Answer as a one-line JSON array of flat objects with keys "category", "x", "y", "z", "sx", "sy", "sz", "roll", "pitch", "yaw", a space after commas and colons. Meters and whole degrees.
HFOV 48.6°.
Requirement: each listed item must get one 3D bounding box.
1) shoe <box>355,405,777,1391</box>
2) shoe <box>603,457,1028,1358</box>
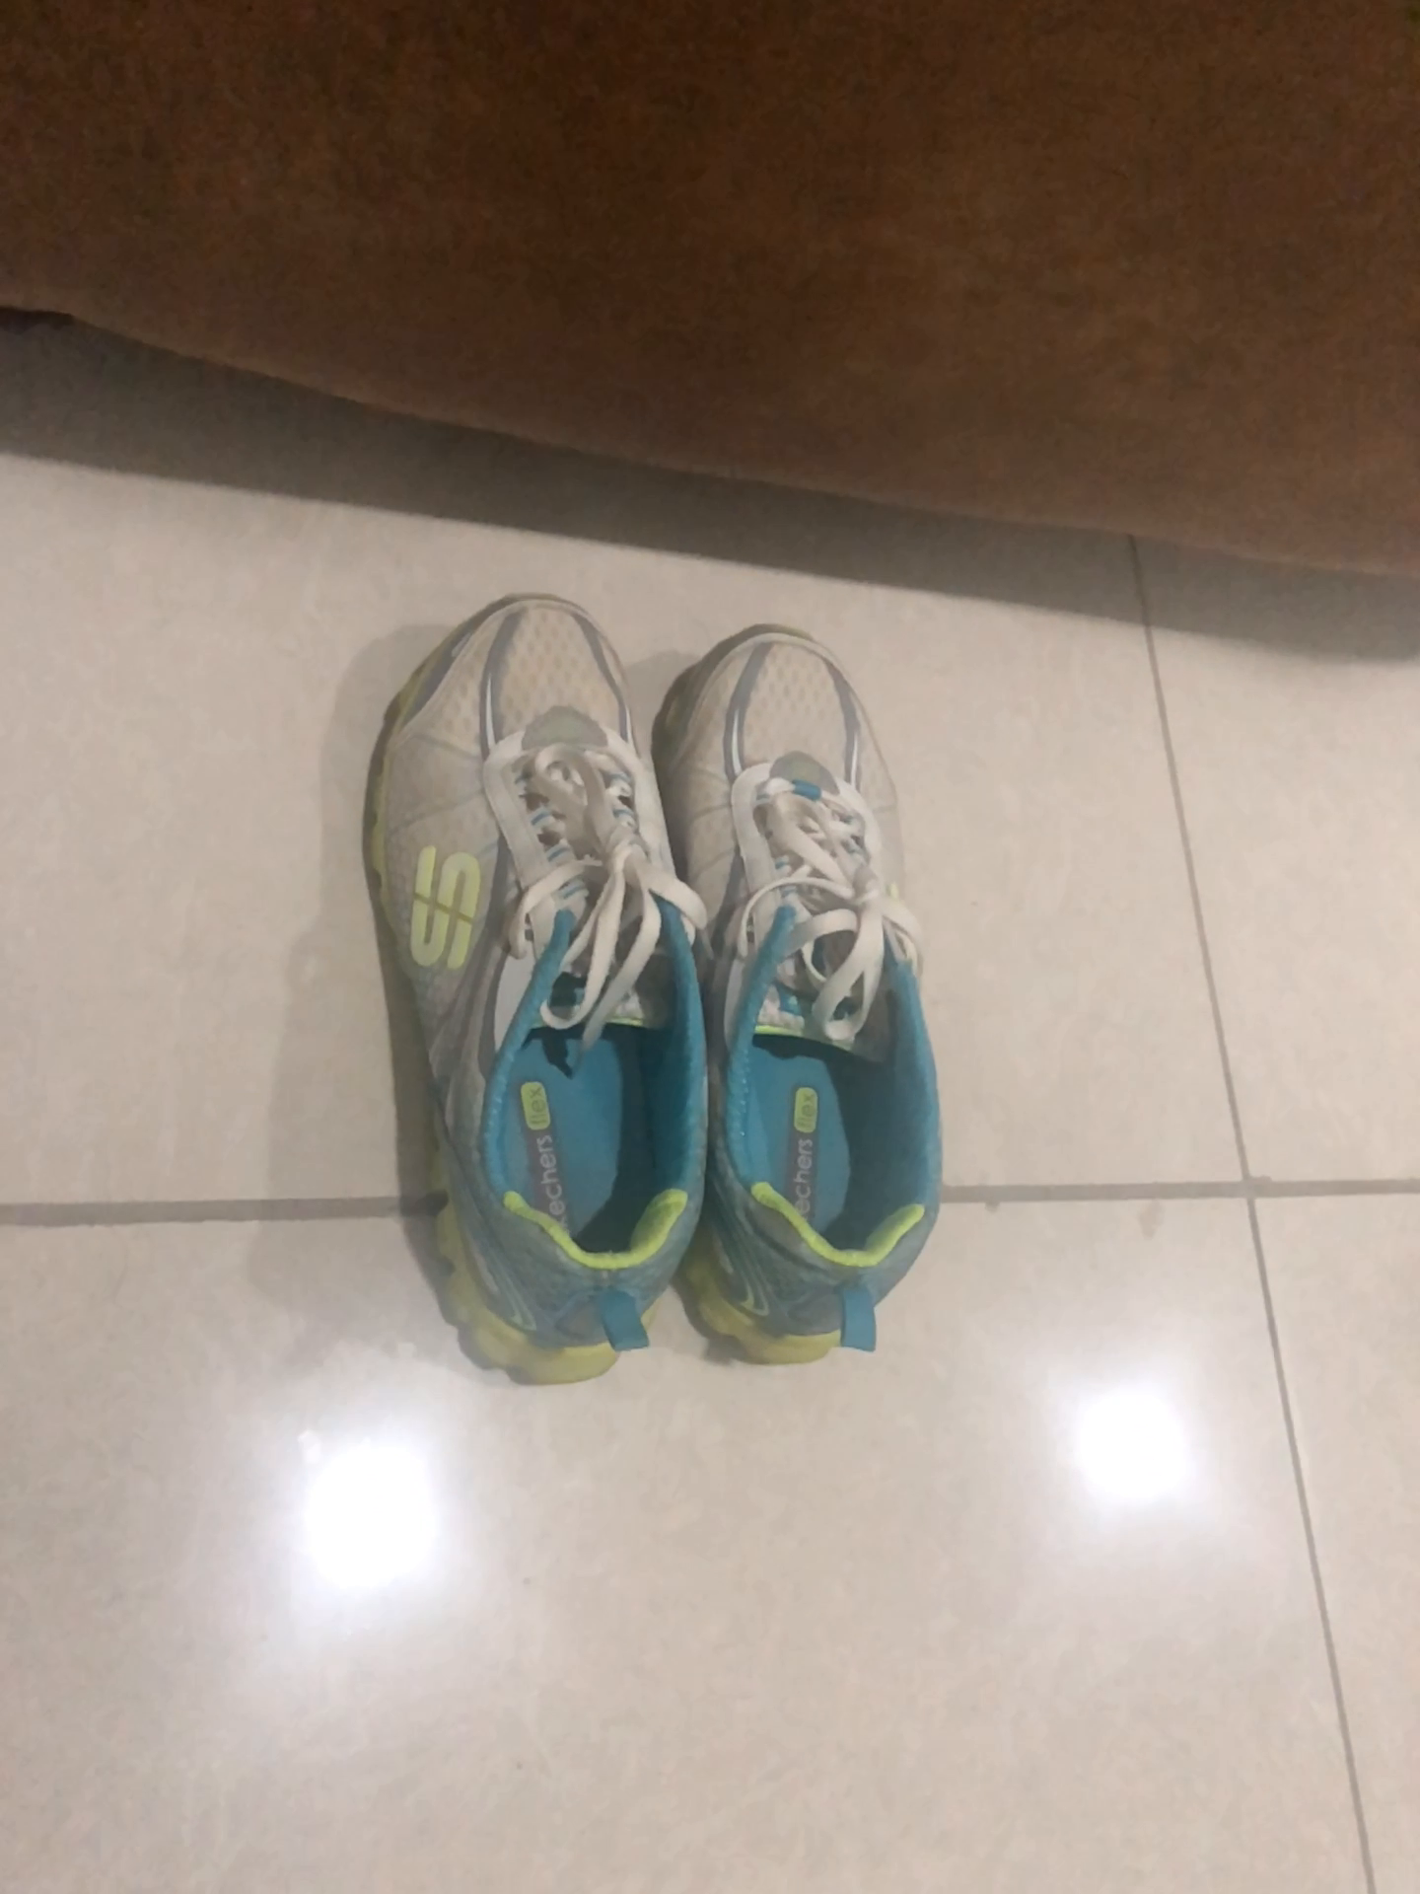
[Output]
[{"category": "shoe", "x": -0.057, "y": -0.015, "z": 0.521, "sx": 0.100, "sy": 0.100, "sz": 0.300, "roll": 1, "pitch": 71, "yaw": -20}, {"category": "shoe", "x": 0.028, "y": -0.011, "z": 0.569, "sx": 0.110, "sy": 0.100, "sz": 0.300, "roll": 5, "pitch": 70, "yaw": -19}]
